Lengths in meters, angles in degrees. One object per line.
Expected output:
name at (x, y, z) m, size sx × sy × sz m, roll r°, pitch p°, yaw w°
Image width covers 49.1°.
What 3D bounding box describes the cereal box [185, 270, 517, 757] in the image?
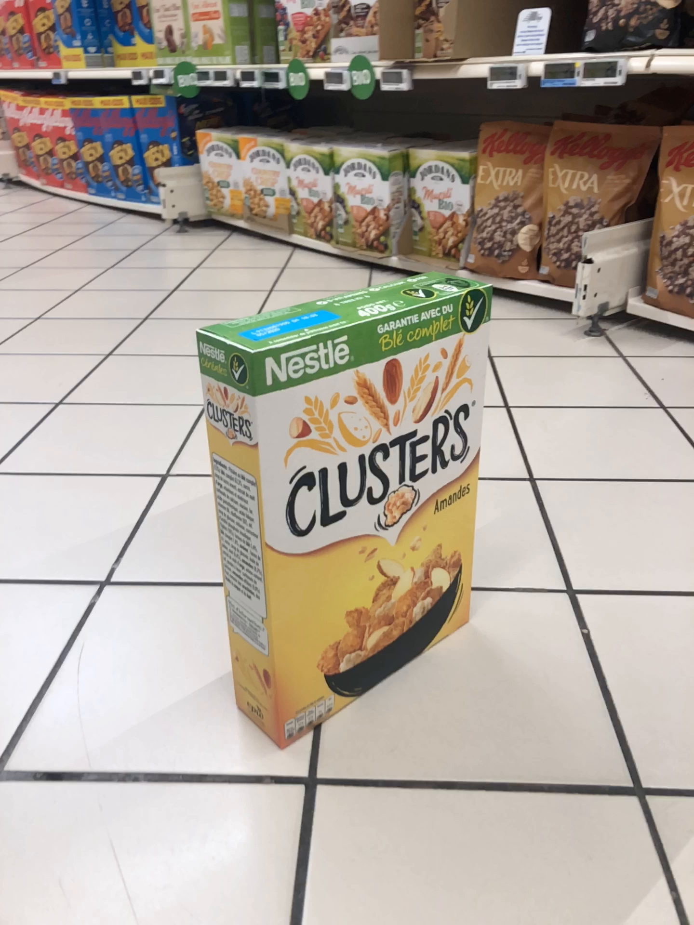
cereal box at (0.013, 0.027, 0.510) m, size 0.211 × 0.269 × 0.060 m, roll -21°, pitch 33°, yaw -36°
